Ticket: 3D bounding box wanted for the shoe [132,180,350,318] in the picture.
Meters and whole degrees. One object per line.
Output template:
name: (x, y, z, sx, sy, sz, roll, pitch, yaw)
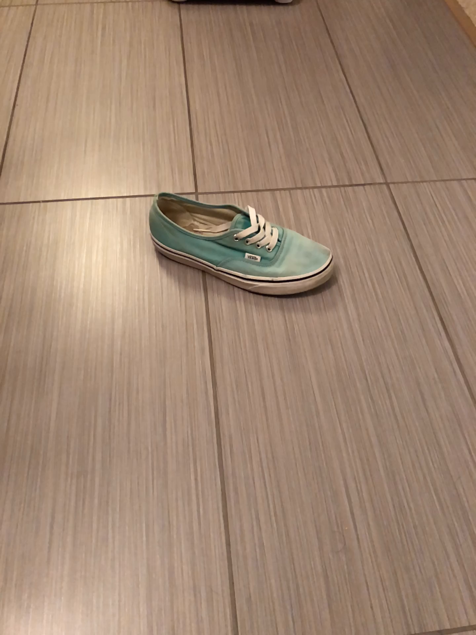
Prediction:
shoe: (0.004, -0.092, 0.690, 0.260, 0.080, 0.090, 16, 57, 9)
